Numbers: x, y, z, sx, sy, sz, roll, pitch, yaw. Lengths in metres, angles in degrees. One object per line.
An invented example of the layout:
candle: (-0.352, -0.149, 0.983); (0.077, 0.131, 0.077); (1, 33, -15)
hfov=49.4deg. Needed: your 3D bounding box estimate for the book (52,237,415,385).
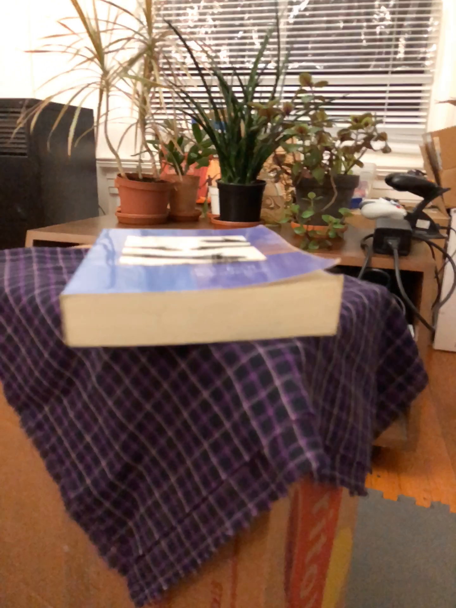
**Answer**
book: (-0.012, -0.014, 0.398); (0.200, 0.040, 0.261); (-1, 16, -9)
